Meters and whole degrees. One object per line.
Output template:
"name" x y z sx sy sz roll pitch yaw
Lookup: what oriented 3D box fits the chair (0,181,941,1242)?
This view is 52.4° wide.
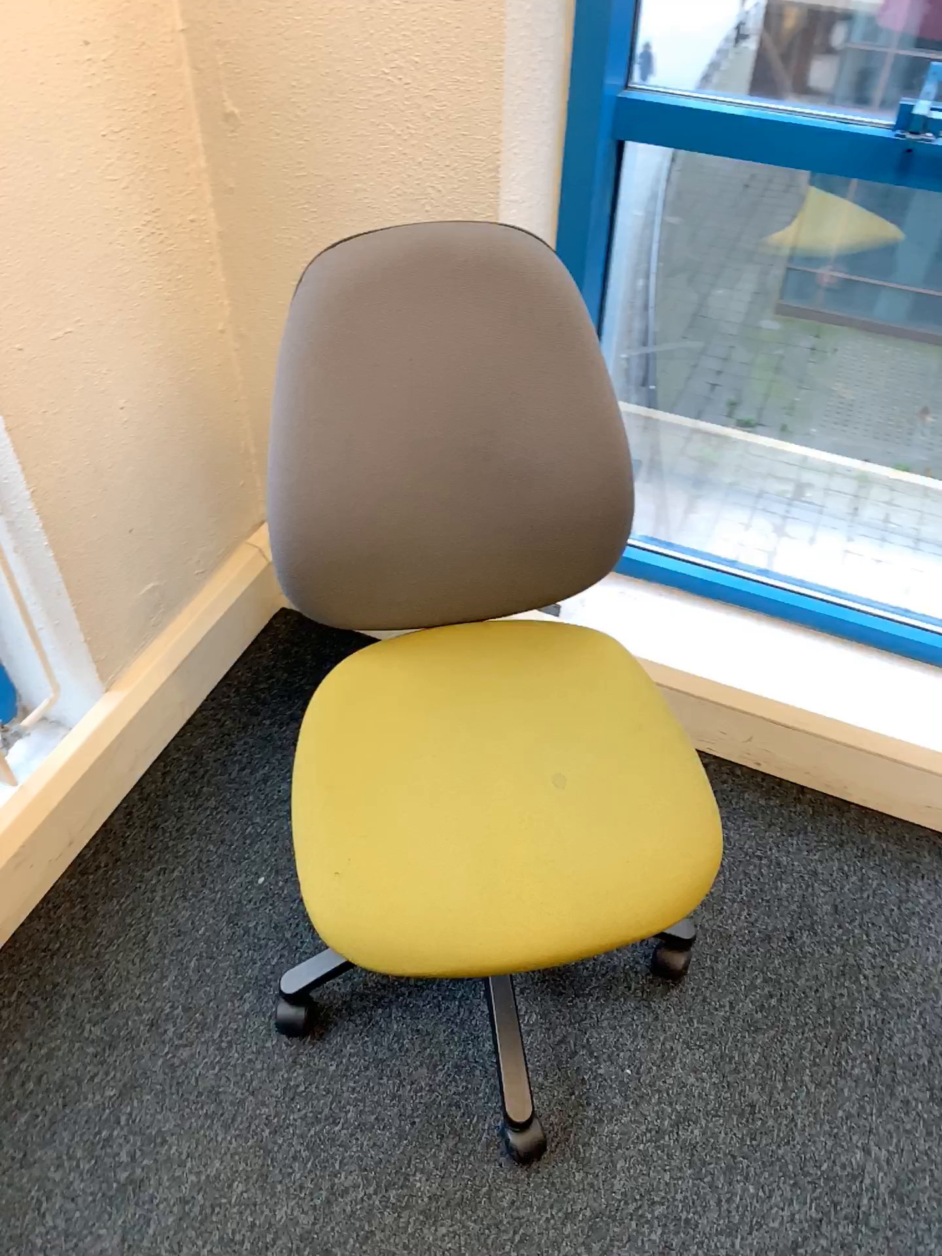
"chair" 0.017 0.102 1.074 0.693 0.877 0.683 -8 46 -10
